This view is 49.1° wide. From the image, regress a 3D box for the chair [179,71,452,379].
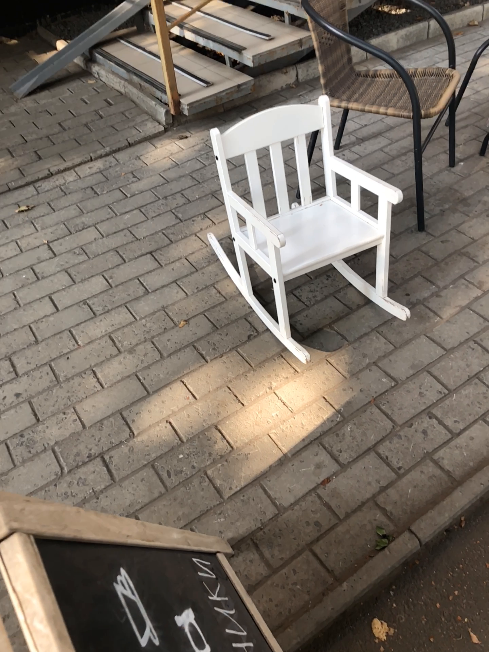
[{"bbox_3d":[0.157,-0.329,1.573,0.380,0.518,0.733,-22,47,-15],"label":"chair"}]
